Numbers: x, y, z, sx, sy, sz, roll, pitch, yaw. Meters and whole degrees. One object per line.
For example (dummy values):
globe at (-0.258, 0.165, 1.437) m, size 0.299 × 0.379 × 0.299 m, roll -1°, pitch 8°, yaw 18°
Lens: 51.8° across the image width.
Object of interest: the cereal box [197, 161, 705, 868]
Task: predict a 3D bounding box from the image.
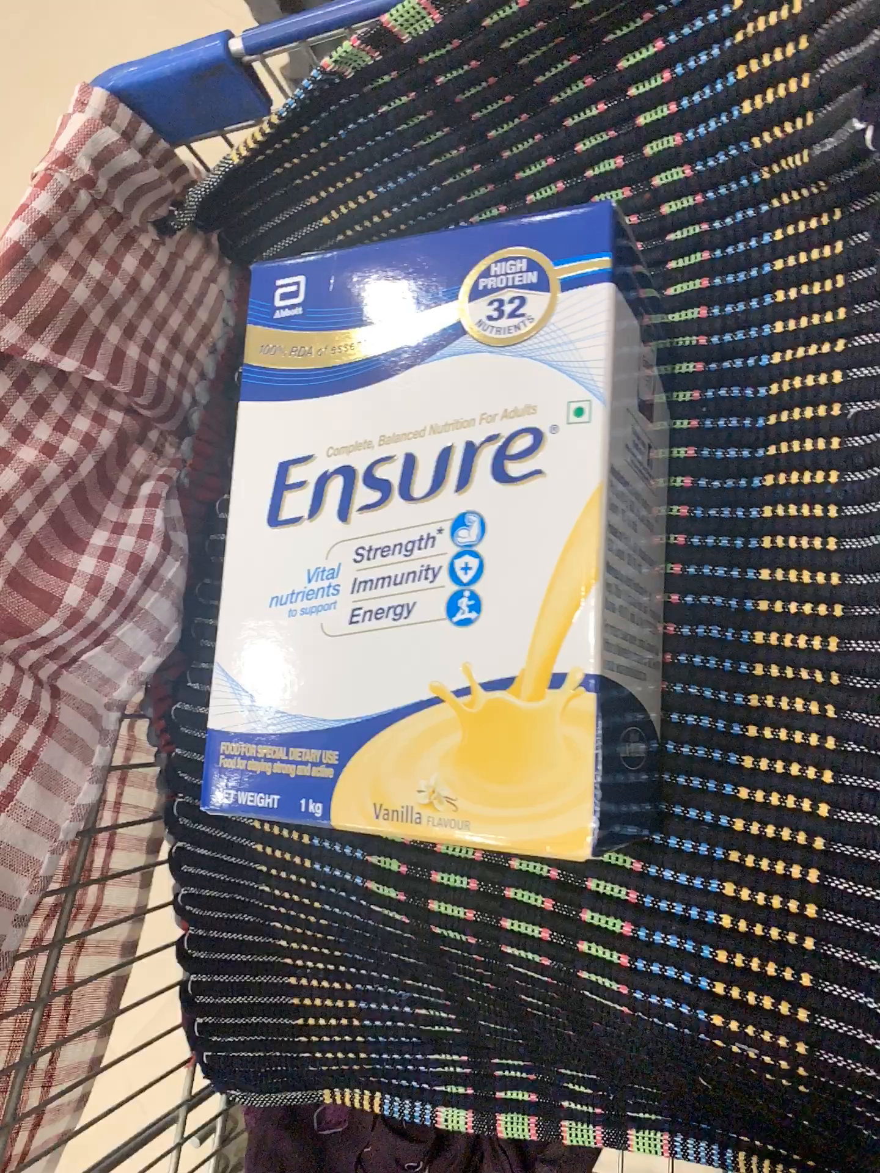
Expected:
cereal box at (0.012, -0.021, 0.344) m, size 0.151 × 0.090 × 0.220 m, roll 0°, pitch 78°, yaw 25°
